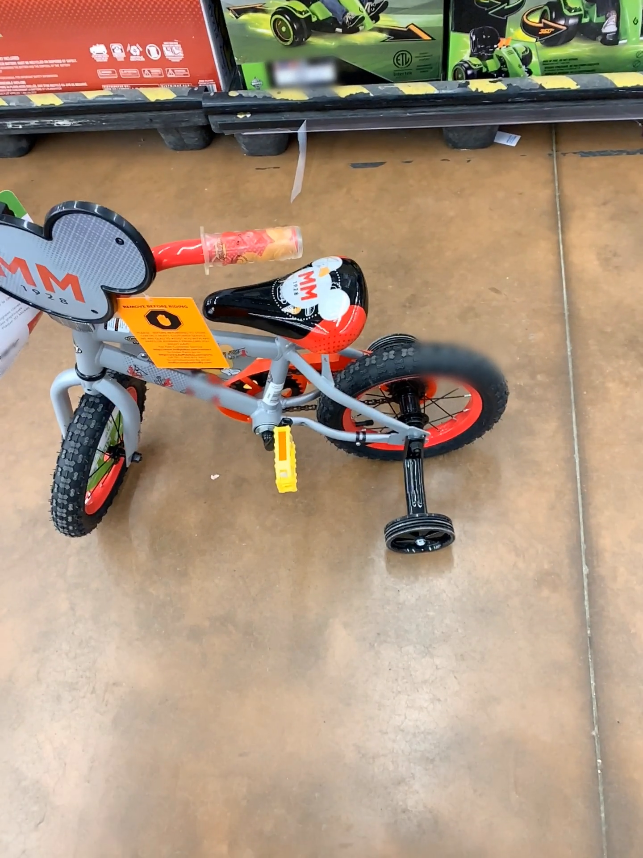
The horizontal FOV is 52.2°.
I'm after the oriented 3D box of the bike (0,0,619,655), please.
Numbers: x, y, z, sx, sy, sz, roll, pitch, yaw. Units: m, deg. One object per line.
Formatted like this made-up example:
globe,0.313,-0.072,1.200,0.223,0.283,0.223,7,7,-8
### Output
bike,-0.112,-0.094,0.863,0.640,0.689,0.453,-14,57,4
